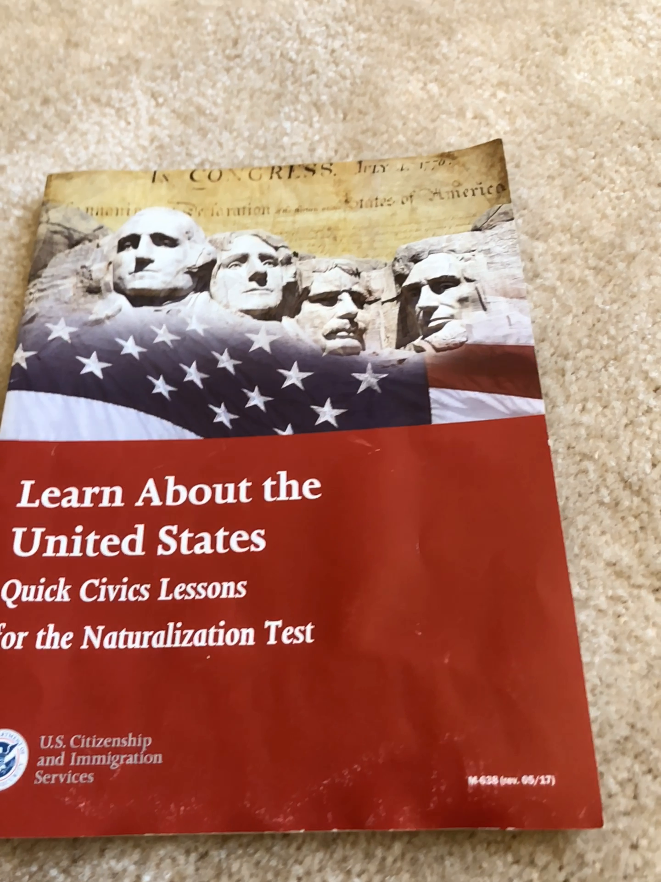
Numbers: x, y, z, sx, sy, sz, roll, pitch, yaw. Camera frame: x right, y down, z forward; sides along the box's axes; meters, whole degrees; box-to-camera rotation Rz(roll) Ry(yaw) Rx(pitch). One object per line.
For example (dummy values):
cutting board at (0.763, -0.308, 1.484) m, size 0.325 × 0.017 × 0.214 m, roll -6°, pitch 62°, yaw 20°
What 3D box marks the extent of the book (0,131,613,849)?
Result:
book at (-0.025, -0.001, 0.285) m, size 0.208 × 0.028 × 0.274 m, roll -3°, pitch 65°, yaw 4°
